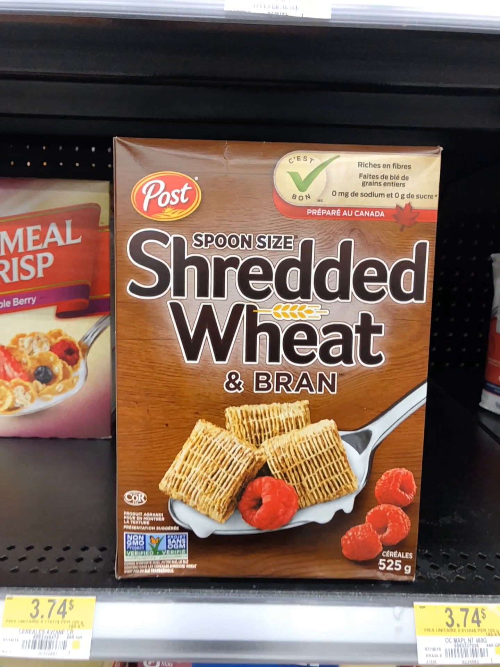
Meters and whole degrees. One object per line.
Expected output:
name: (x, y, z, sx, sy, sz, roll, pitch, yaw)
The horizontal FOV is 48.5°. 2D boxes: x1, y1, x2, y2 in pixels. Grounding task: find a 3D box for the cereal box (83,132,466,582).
cereal box: (0.010, 0.018, 0.350, 0.210, 0.259, 0.060, 1, 8, -3)
